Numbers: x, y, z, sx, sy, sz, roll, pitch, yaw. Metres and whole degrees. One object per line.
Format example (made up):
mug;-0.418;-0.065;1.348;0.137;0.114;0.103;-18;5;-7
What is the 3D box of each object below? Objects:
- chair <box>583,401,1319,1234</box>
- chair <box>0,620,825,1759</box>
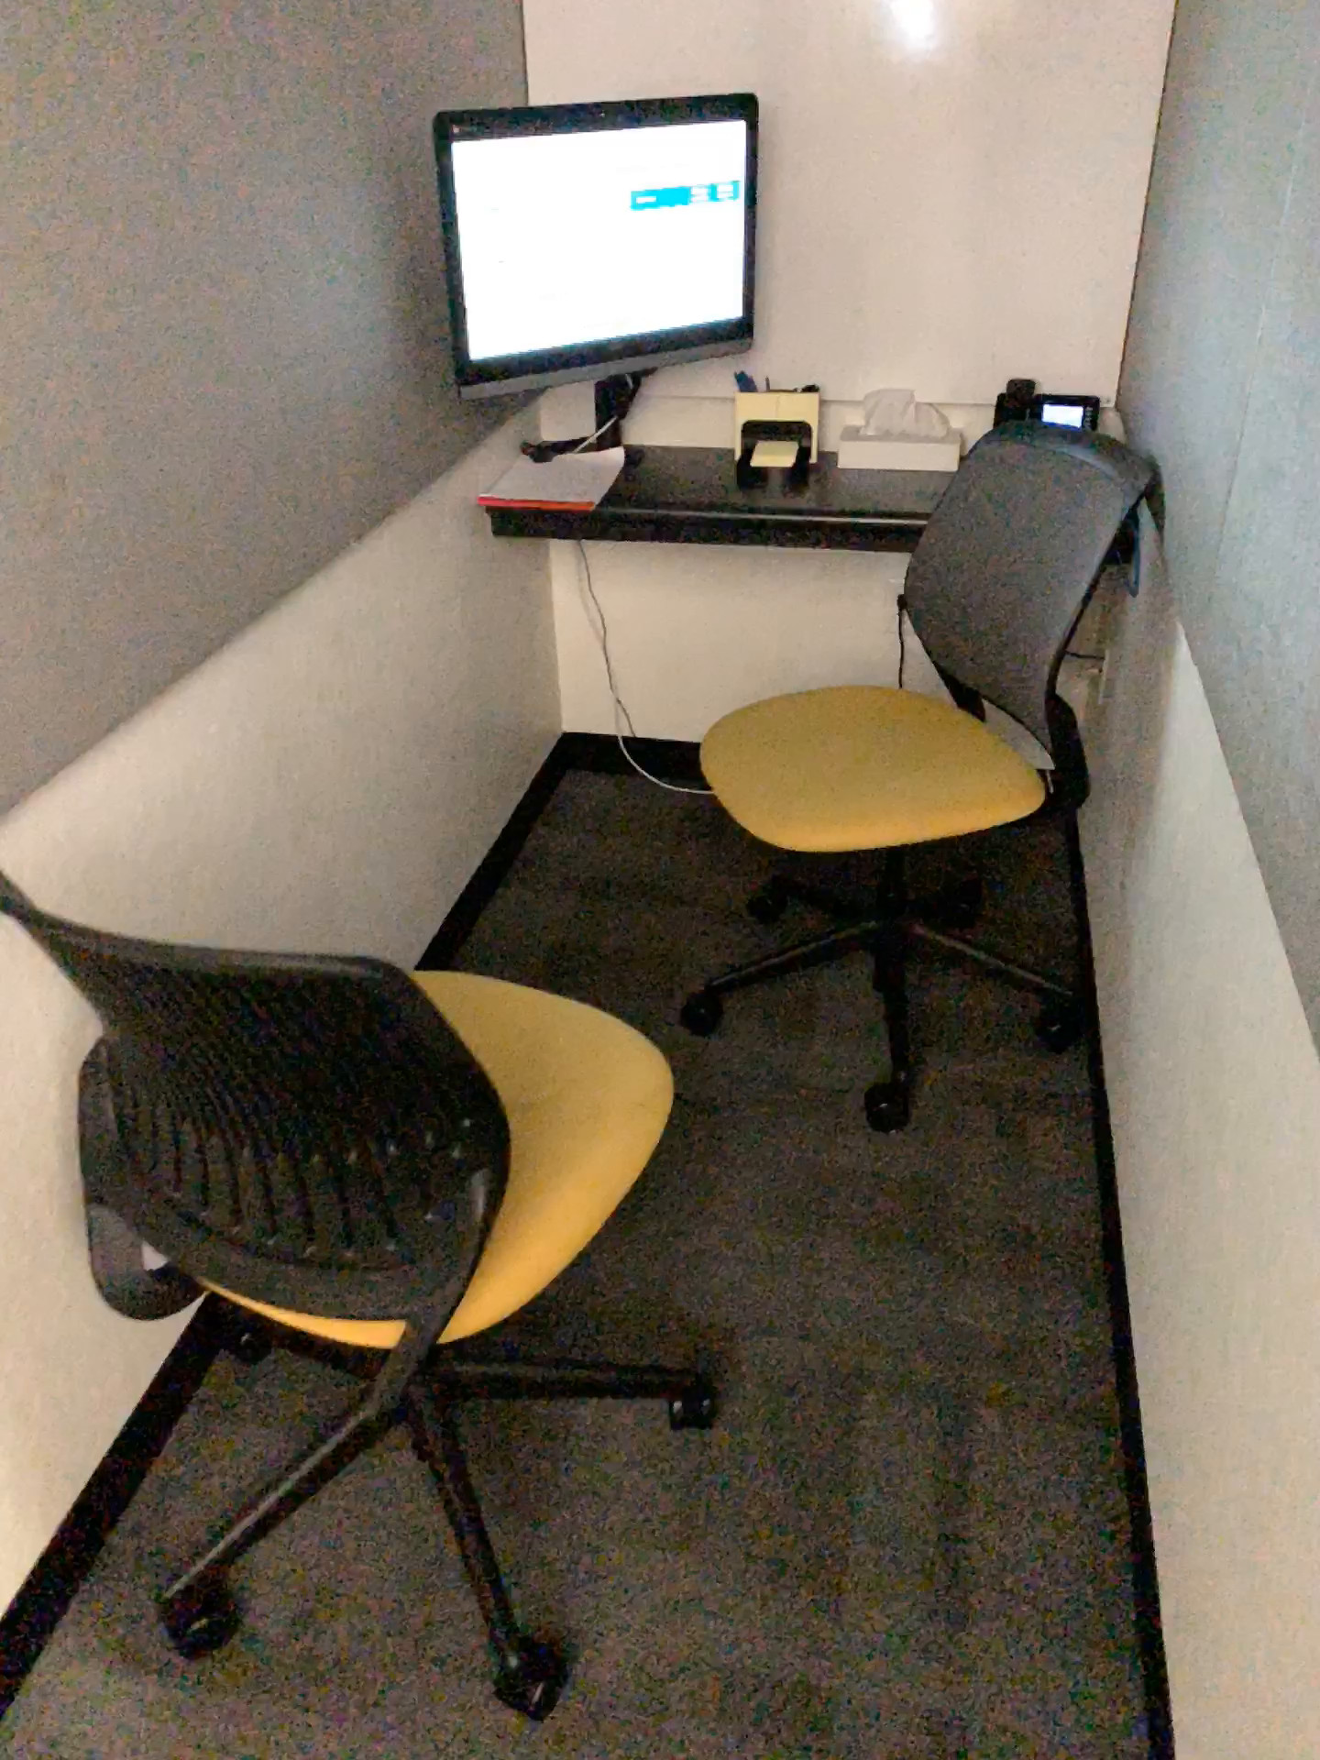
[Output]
chair;0.492;-0.191;2.444;0.950;1.034;0.926;-14;34;-20
chair;-0.239;0.305;1.225;0.551;0.845;0.572;16;36;25
